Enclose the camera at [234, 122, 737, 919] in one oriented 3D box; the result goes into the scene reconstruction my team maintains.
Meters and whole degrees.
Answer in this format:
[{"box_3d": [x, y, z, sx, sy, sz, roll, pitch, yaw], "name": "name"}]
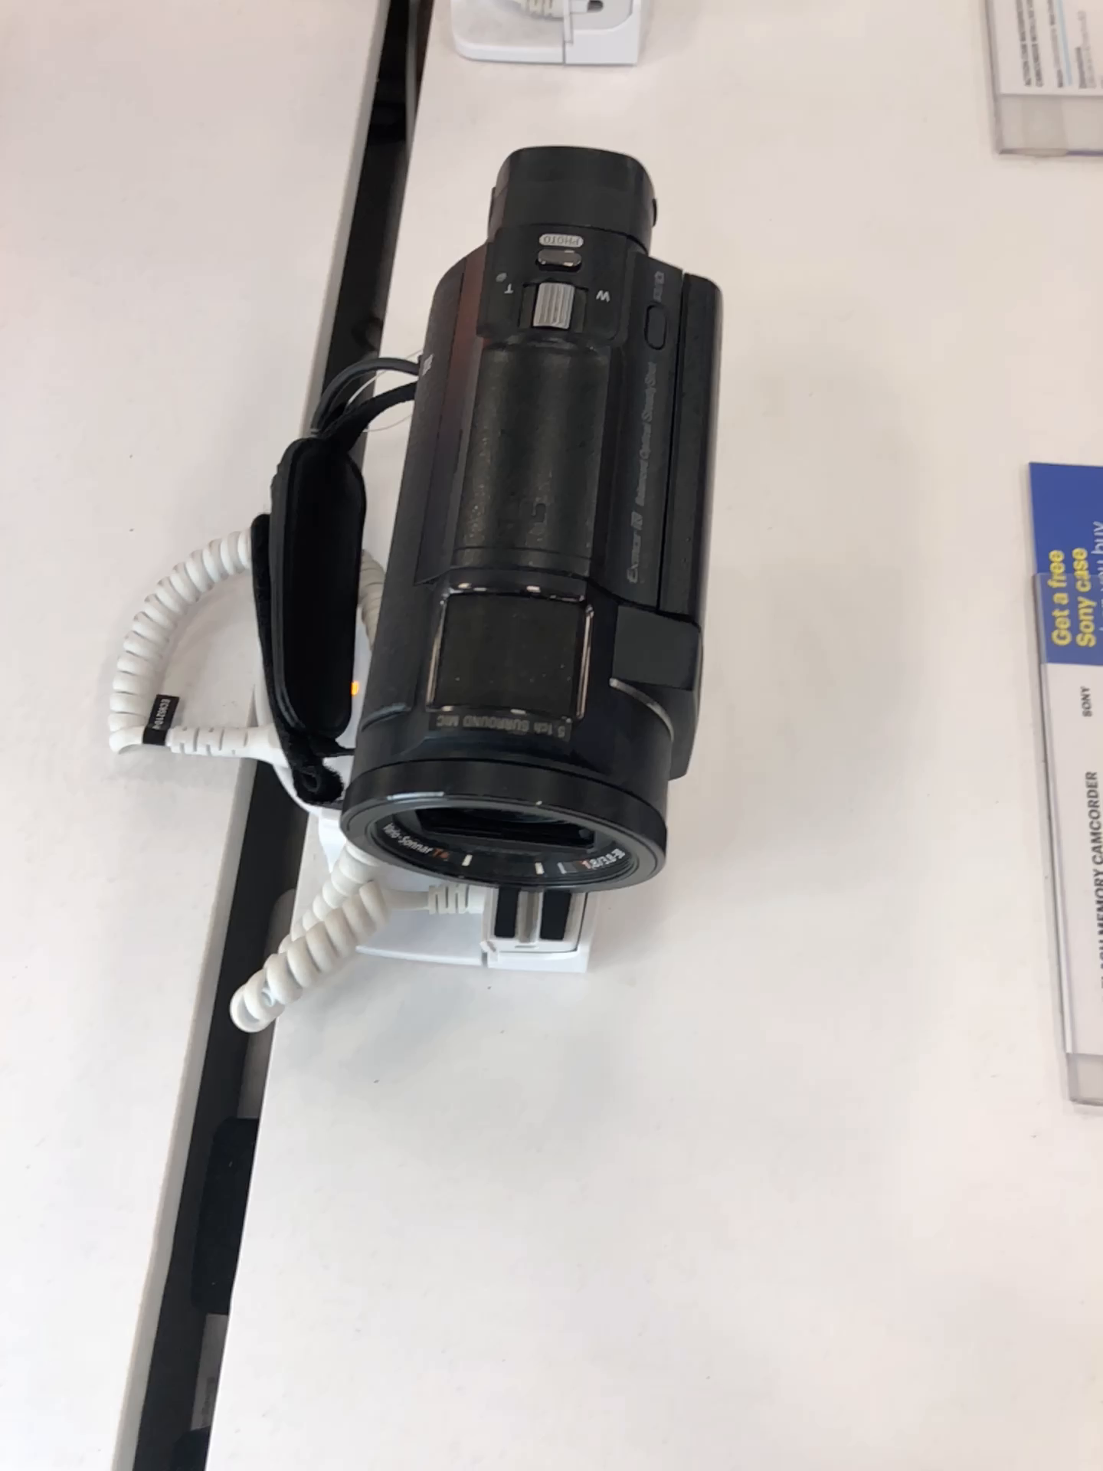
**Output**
[{"box_3d": [-0.006, -0.045, 0.264, 0.080, 0.070, 0.150, 4, 69, 4], "name": "camera"}]
